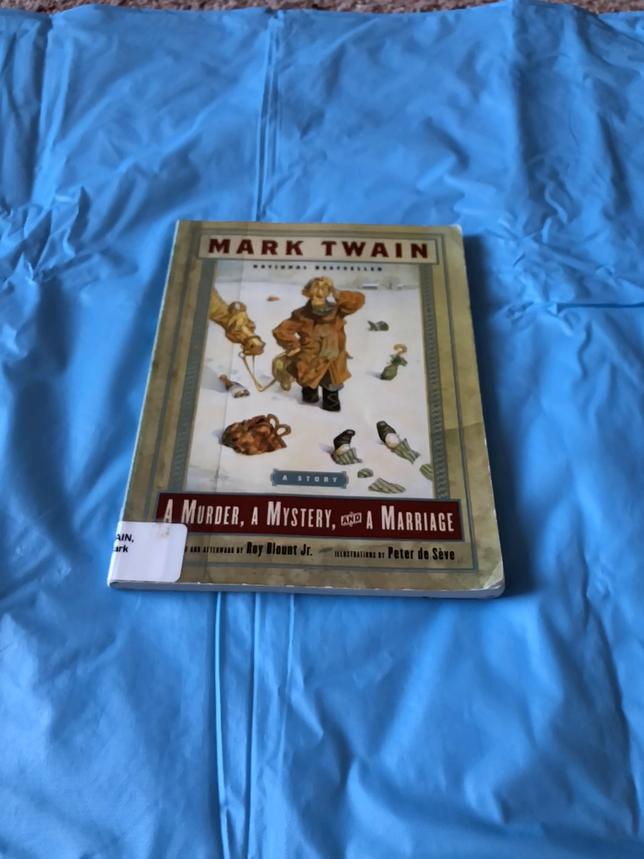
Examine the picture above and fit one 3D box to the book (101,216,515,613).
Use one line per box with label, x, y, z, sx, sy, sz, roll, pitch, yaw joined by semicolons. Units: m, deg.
book;-0.003;-0.021;0.344;0.160;0.020;0.210;2;57;0
